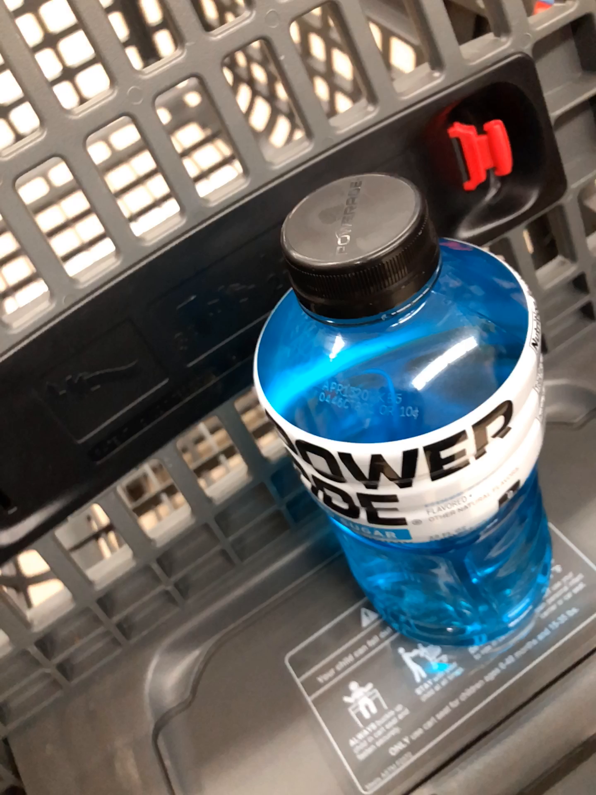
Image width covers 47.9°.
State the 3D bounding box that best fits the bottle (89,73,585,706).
[{"bbox_3d":[0.044,0.017,0.253,0.100,0.220,0.100,-13,47,14],"label":"bottle"}]
